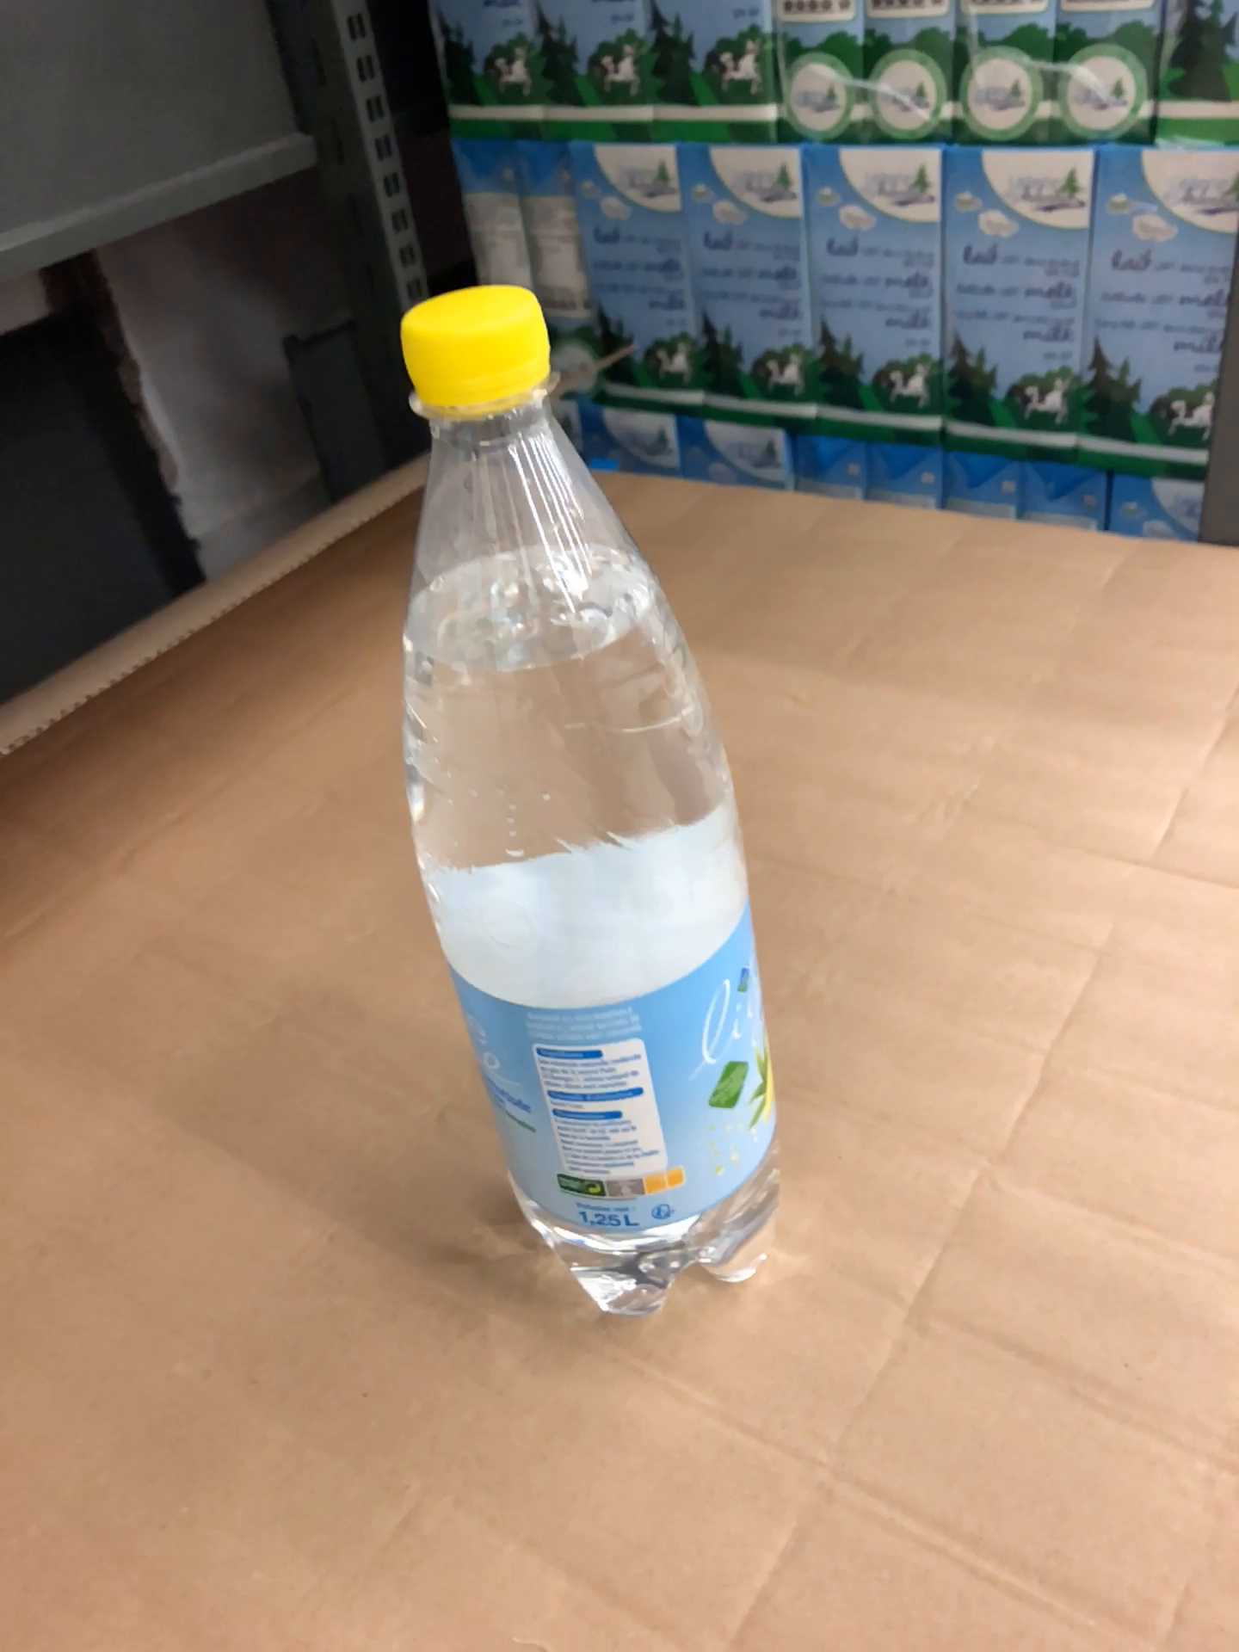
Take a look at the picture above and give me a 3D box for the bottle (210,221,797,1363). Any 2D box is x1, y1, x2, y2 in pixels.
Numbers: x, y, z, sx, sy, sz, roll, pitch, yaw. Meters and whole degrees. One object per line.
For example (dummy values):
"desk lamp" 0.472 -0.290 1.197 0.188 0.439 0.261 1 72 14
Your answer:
"bottle" -0.006 0.012 0.353 0.080 0.288 0.091 0 38 13
